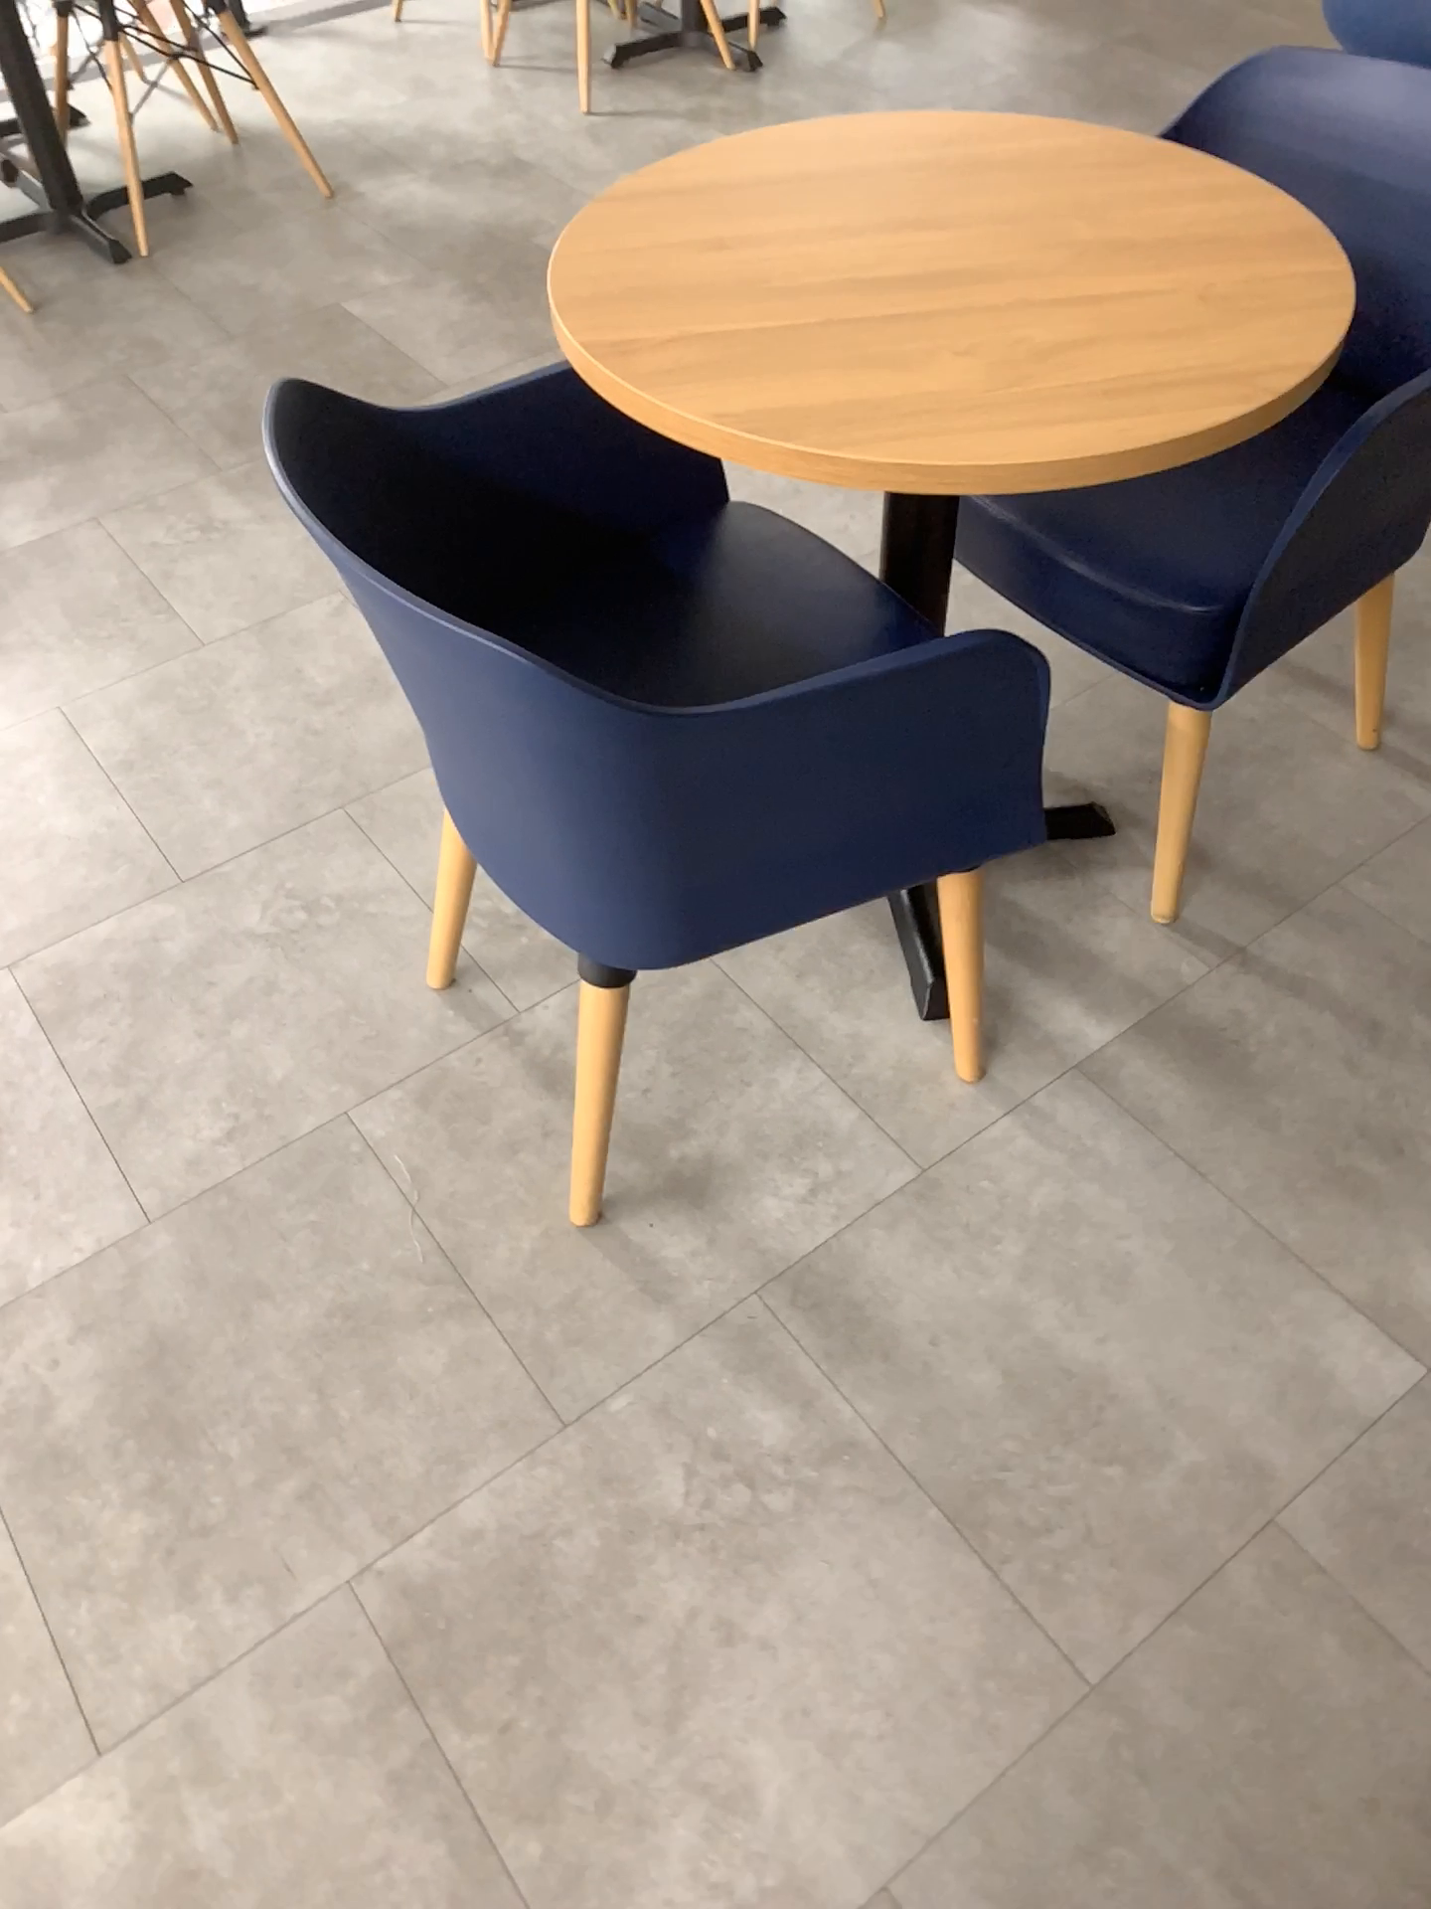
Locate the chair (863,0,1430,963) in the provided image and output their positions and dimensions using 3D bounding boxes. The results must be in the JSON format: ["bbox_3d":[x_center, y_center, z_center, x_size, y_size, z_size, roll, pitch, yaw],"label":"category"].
[{"bbox_3d":[0.575,-0.530,1.621,0.558,0.735,0.565,-29,53,-22],"label":"chair"}]

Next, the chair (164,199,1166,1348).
[{"bbox_3d":[-0.056,-0.161,1.349,0.547,0.735,0.566,-23,51,-18],"label":"chair"}]
